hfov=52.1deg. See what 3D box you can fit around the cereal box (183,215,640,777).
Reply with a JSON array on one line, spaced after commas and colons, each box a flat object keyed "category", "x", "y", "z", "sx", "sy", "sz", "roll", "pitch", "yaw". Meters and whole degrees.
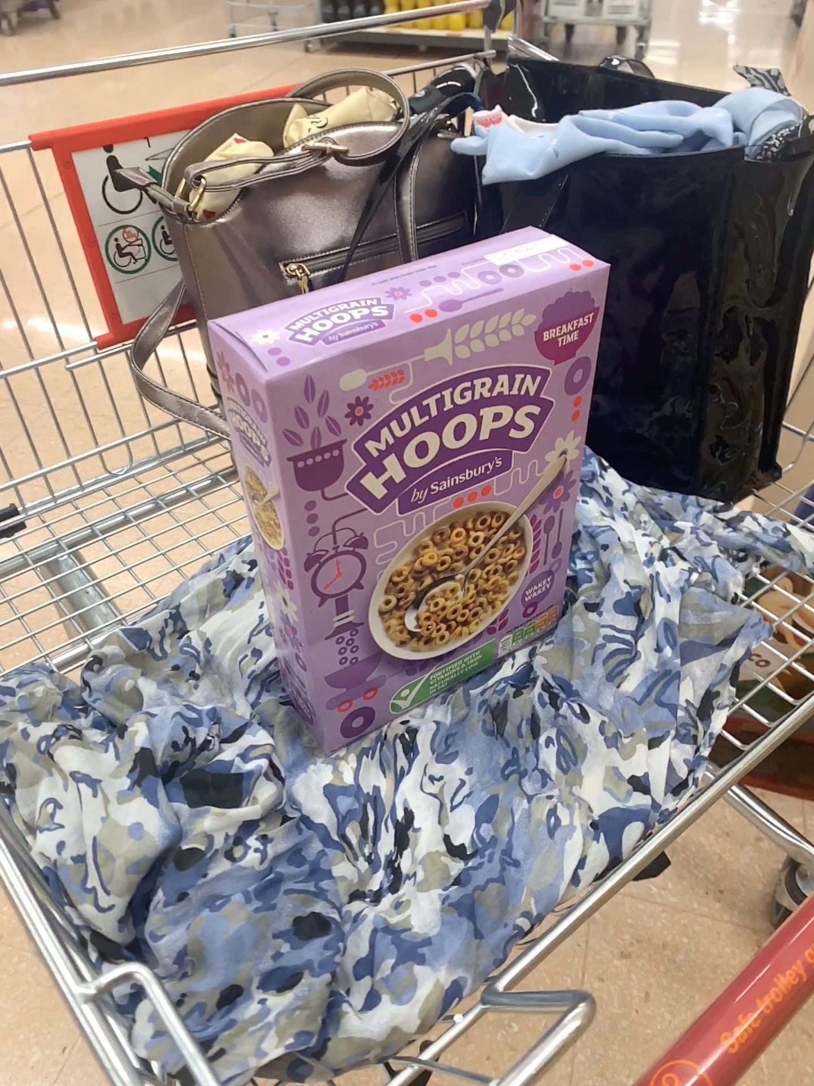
[{"category": "cereal box", "x": 0.011, "y": -0.020, "z": 0.477, "sx": 0.211, "sy": 0.267, "sz": 0.071, "roll": -24, "pitch": 45, "yaw": -24}]
